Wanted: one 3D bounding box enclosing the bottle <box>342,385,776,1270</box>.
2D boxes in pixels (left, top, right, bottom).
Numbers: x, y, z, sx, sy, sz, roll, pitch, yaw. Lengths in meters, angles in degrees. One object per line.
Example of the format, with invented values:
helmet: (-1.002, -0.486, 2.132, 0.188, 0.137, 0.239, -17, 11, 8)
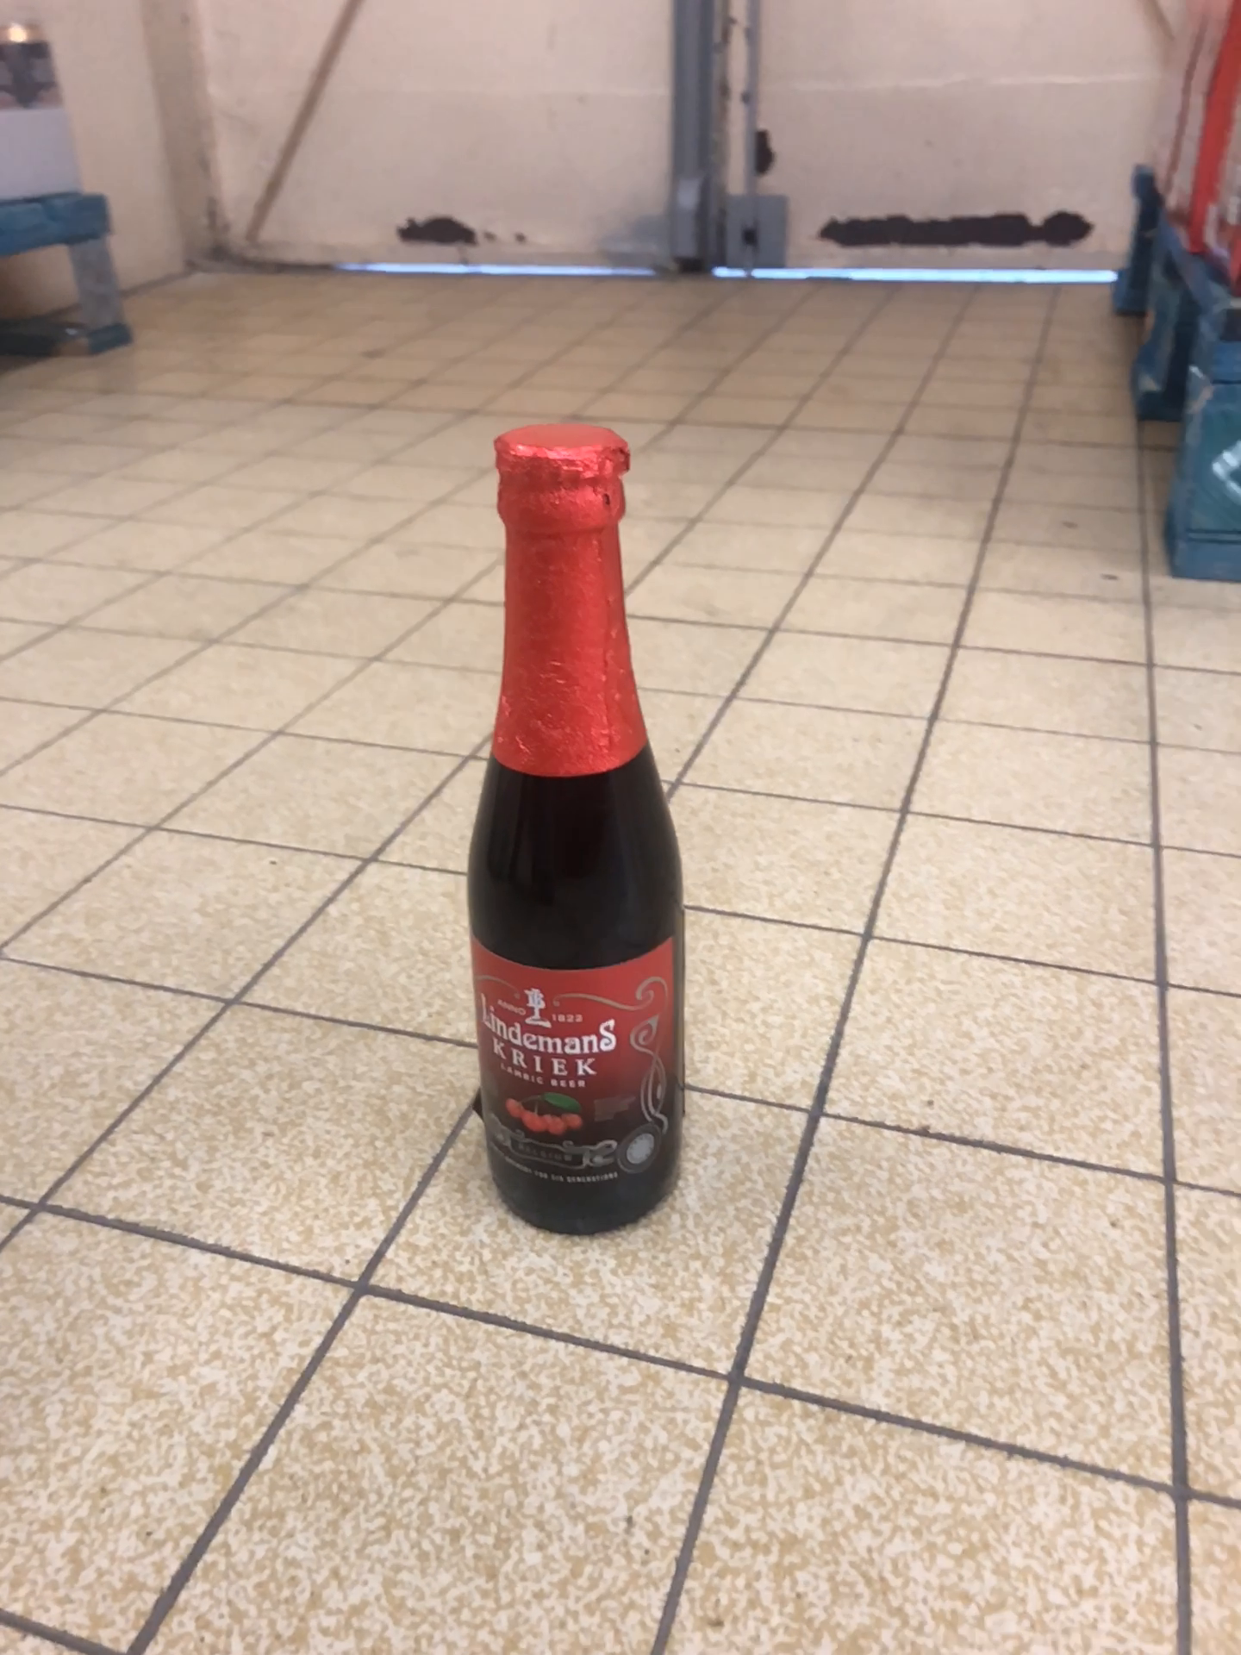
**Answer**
bottle: (-0.009, 0.002, 0.339, 0.070, 0.199, 0.070, -1, 28, 0)
